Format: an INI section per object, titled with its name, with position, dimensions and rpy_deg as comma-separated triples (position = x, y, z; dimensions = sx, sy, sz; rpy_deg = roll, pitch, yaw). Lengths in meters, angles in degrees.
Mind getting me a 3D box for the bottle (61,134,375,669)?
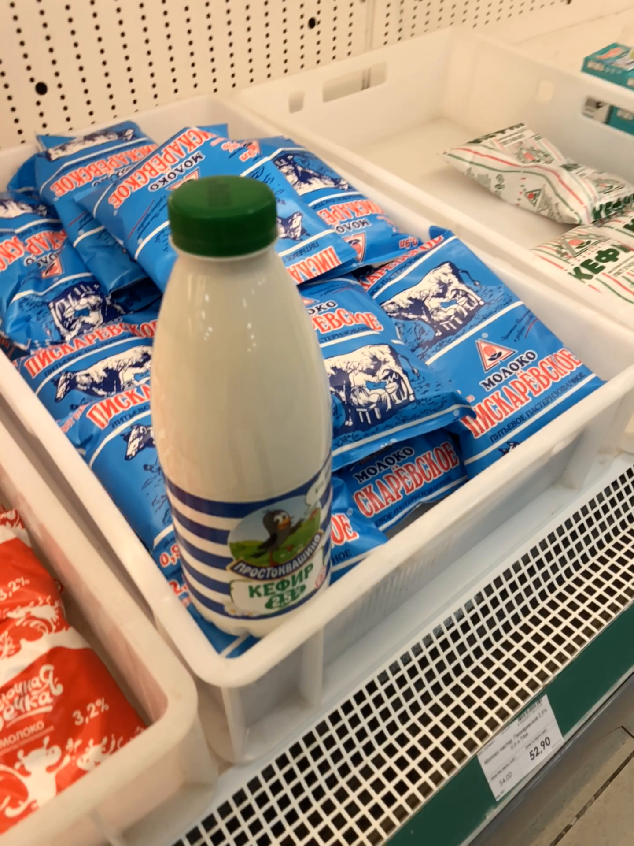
[bottle]
position = -0.034, 0.003, 0.315
dimensions = 0.083, 0.224, 0.080
rpy_deg = -1, 42, 1
